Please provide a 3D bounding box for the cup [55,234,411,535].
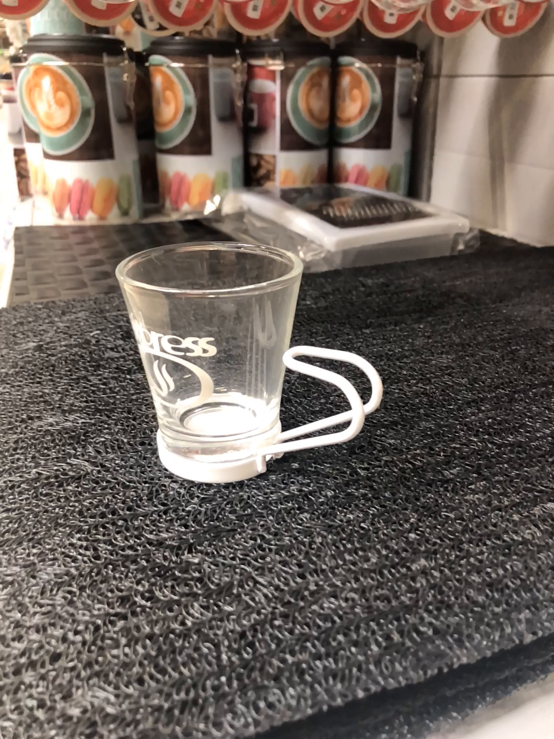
[{"bbox_3d":[-0.011,-0.002,0.205,0.092,0.063,0.060,11,31,25],"label":"cup"}]
